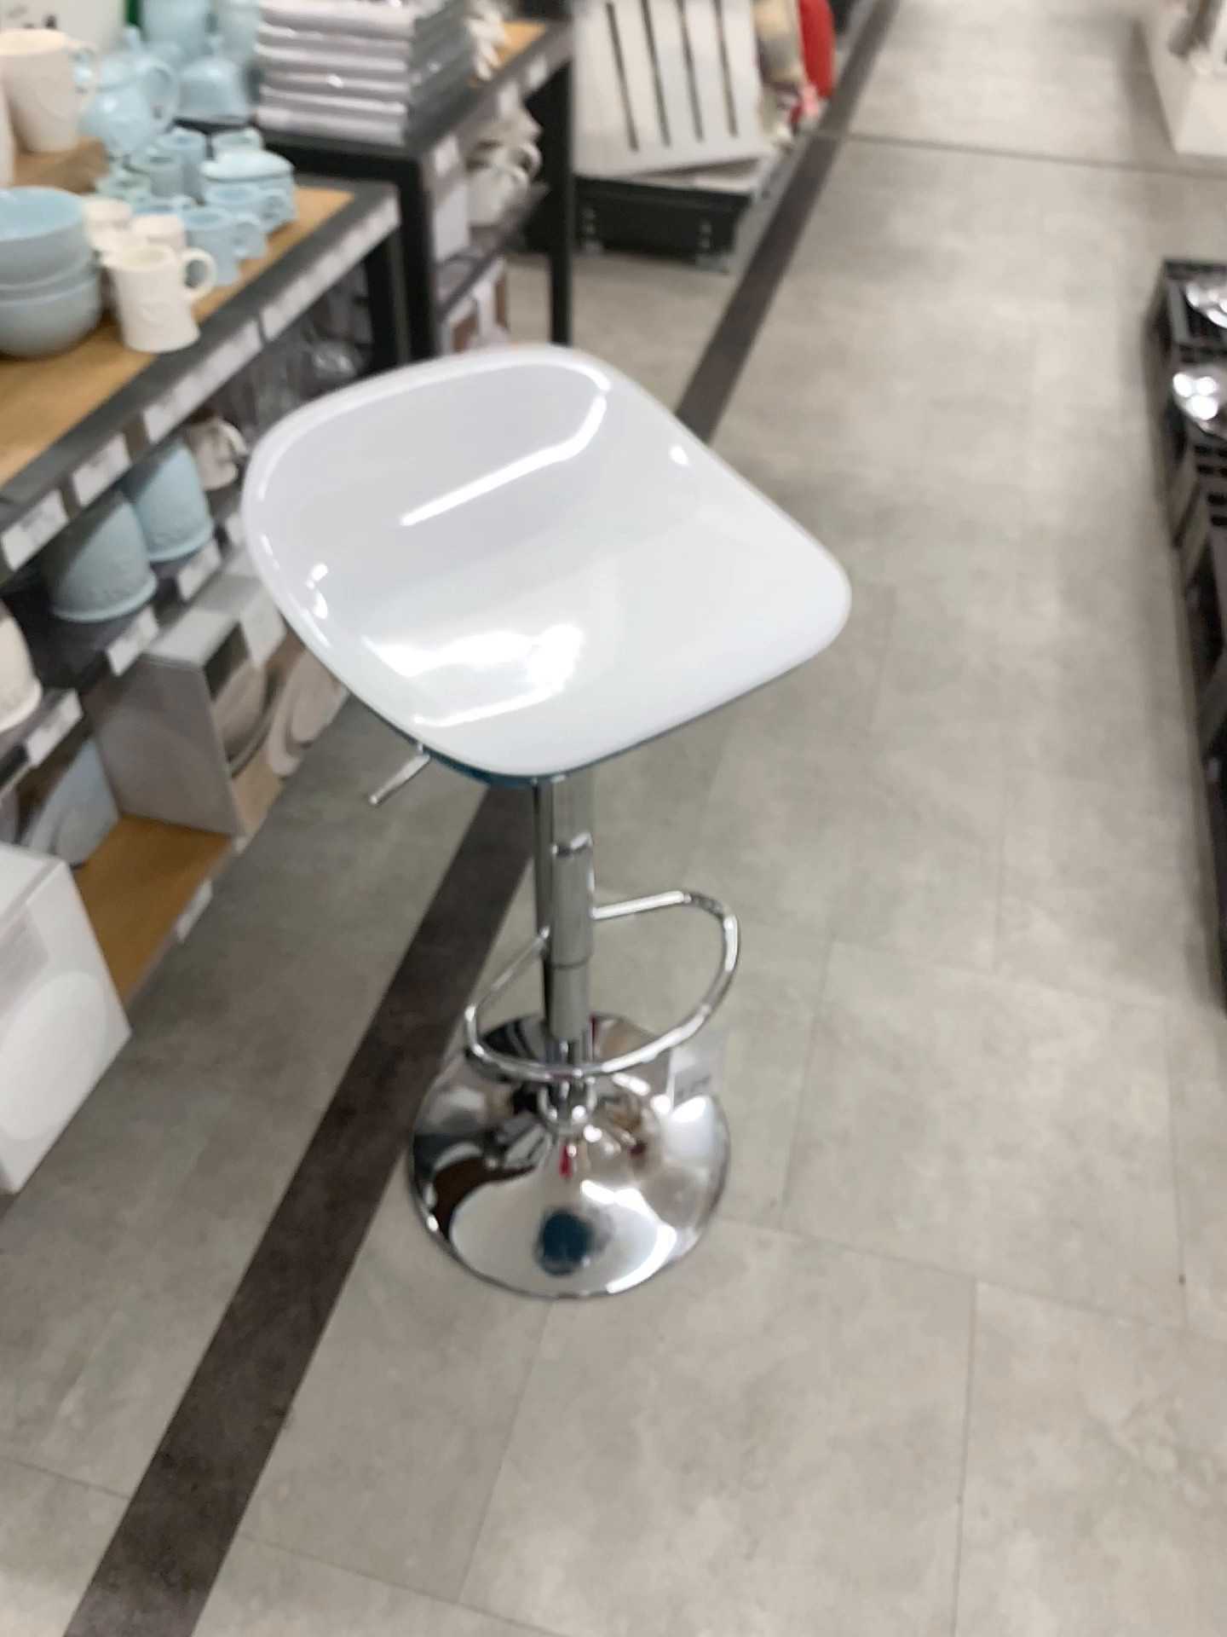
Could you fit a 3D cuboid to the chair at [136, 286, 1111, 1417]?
[{"bbox_3d":[-0.009,0.038,1.159,0.504,0.776,0.472,-28,51,-28],"label":"chair"}]
